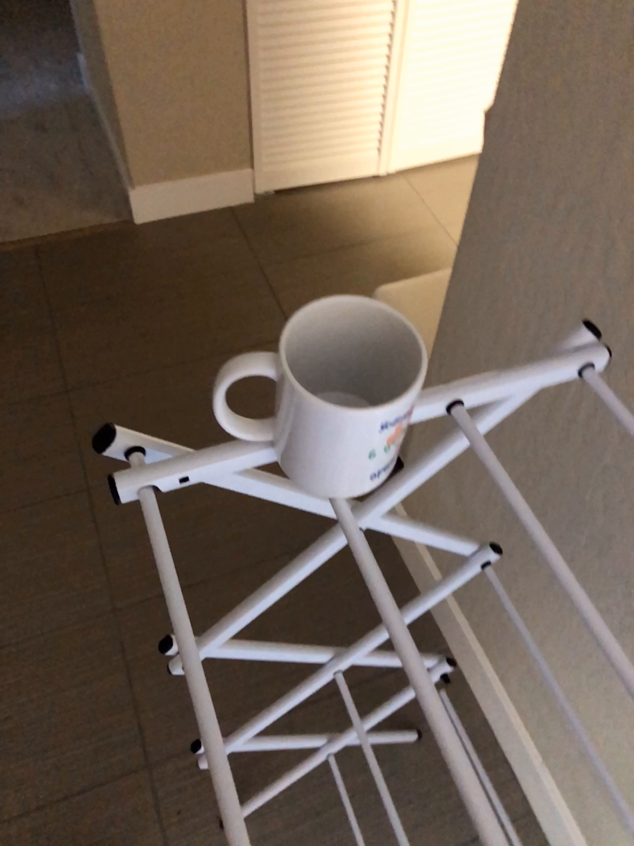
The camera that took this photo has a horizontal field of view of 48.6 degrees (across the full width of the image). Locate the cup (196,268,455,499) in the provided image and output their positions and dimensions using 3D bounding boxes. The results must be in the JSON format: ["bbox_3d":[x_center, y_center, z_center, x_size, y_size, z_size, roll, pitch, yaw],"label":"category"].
[{"bbox_3d":[0.001,-0.021,0.413,0.130,0.090,0.090,4,55,-4],"label":"cup"}]
